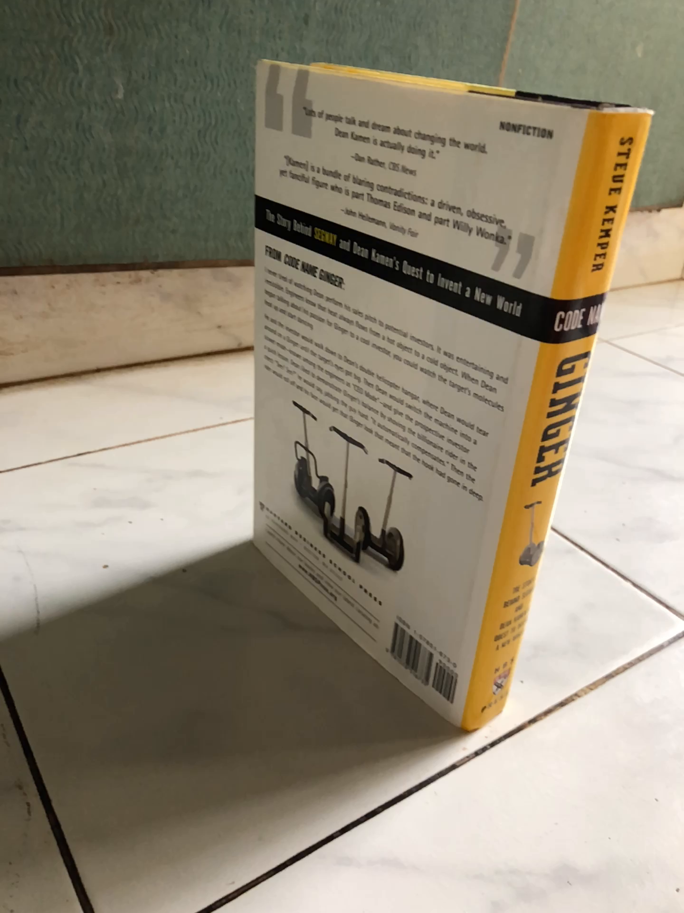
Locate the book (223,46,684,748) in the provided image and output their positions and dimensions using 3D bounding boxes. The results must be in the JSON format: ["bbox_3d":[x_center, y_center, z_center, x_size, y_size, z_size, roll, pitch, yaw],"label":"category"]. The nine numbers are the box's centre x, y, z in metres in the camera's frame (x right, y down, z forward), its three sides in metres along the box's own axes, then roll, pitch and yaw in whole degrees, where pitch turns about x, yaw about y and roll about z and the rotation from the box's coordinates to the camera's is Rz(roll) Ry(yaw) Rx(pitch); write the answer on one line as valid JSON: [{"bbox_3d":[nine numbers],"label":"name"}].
[{"bbox_3d":[0.017,-0.031,0.324,0.040,0.239,0.190,-19,37,-35],"label":"book"}]
